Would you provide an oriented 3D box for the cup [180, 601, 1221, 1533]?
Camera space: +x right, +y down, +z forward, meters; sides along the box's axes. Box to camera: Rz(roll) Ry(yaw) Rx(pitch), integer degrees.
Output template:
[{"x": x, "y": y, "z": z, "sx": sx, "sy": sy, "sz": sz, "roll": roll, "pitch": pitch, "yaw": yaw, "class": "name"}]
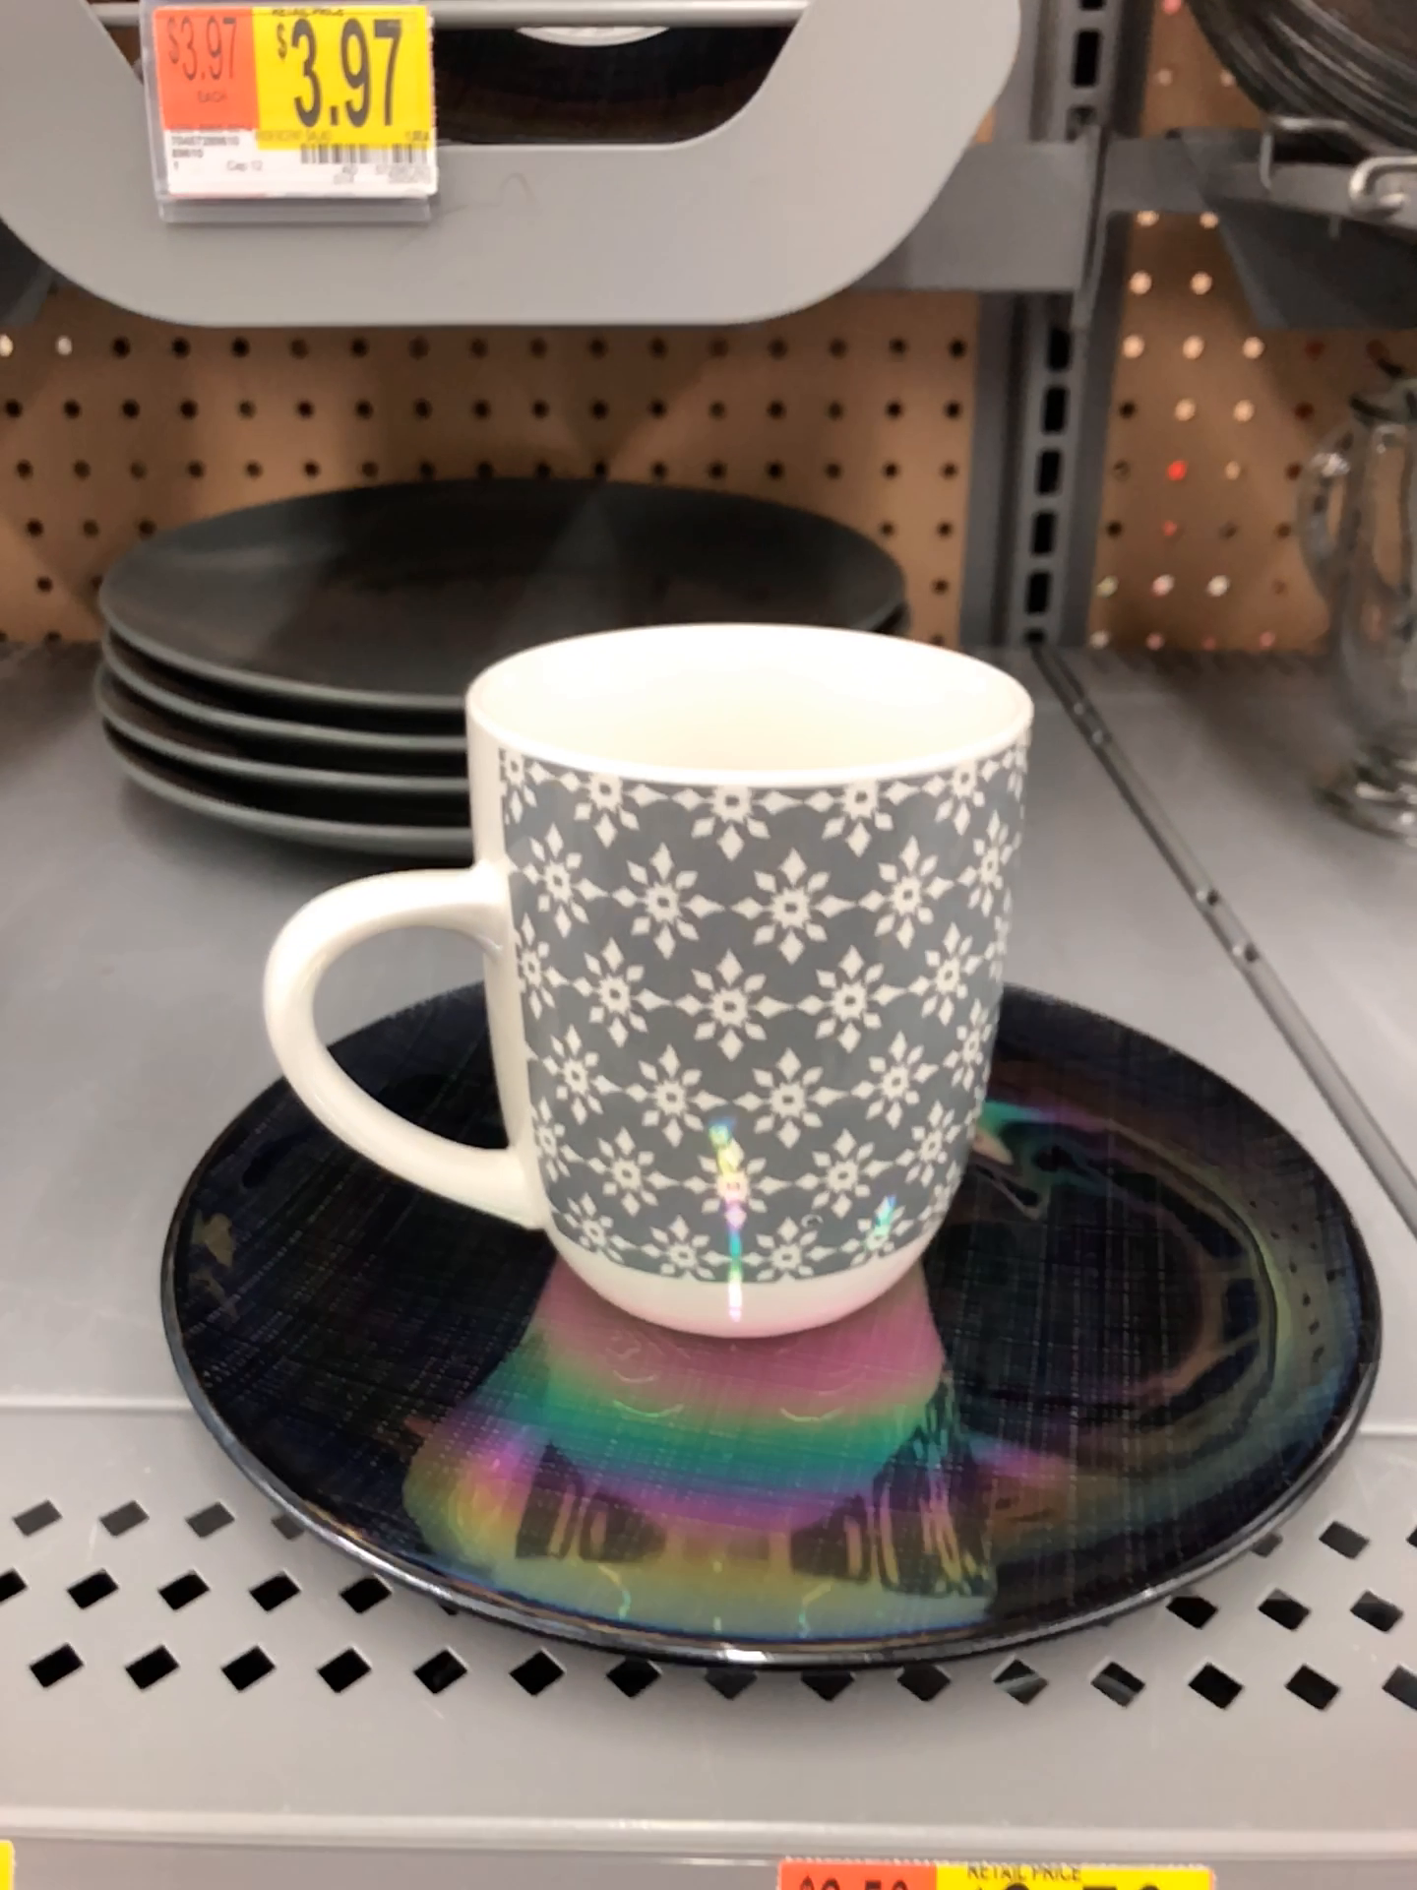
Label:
[{"x": -0.007, "y": 0.008, "z": 0.256, "sx": 0.129, "sy": 0.096, "sz": 0.094, "roll": -9, "pitch": 26, "yaw": -19, "class": "cup"}]
